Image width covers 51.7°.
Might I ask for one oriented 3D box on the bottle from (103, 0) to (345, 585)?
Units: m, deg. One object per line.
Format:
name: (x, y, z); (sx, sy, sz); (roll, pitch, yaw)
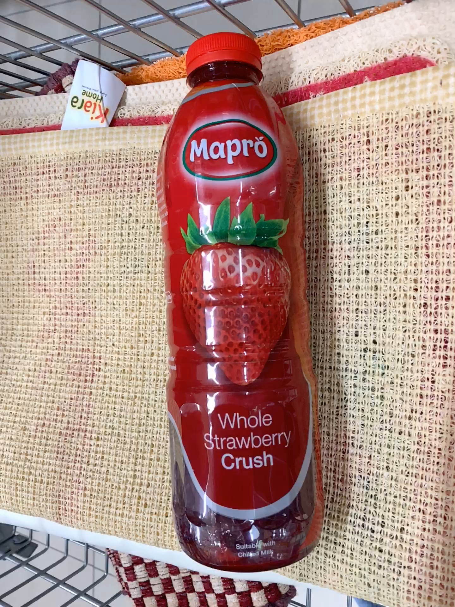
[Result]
bottle: (0.001, -0.005, 0.232); (0.090, 0.070, 0.250); (-3, 94, 1)
